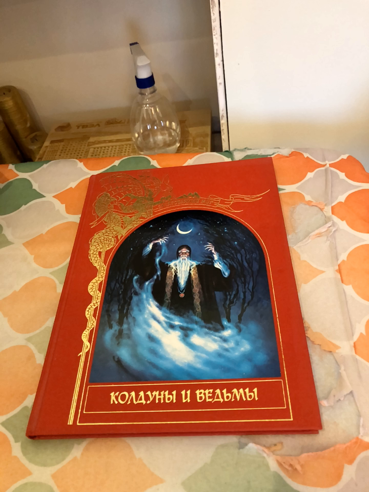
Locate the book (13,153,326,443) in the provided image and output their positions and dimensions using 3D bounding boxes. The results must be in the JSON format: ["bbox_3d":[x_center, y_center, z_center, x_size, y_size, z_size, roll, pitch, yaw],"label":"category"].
[{"bbox_3d":[-0.011,0.021,0.378,0.215,0.020,0.292,-4,49,7],"label":"book"}]
